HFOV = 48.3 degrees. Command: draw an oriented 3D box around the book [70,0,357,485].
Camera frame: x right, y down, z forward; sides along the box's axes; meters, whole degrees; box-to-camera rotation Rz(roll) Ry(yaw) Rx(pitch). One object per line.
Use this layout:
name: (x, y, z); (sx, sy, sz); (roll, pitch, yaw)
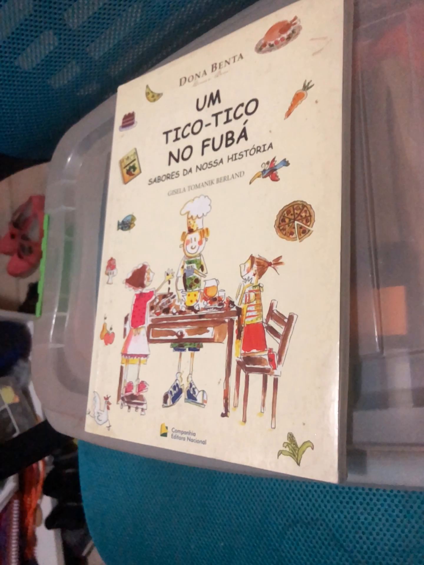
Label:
book: (-0.007, -0.027, 0.267); (0.172, 0.020, 0.232); (-5, 77, 37)
